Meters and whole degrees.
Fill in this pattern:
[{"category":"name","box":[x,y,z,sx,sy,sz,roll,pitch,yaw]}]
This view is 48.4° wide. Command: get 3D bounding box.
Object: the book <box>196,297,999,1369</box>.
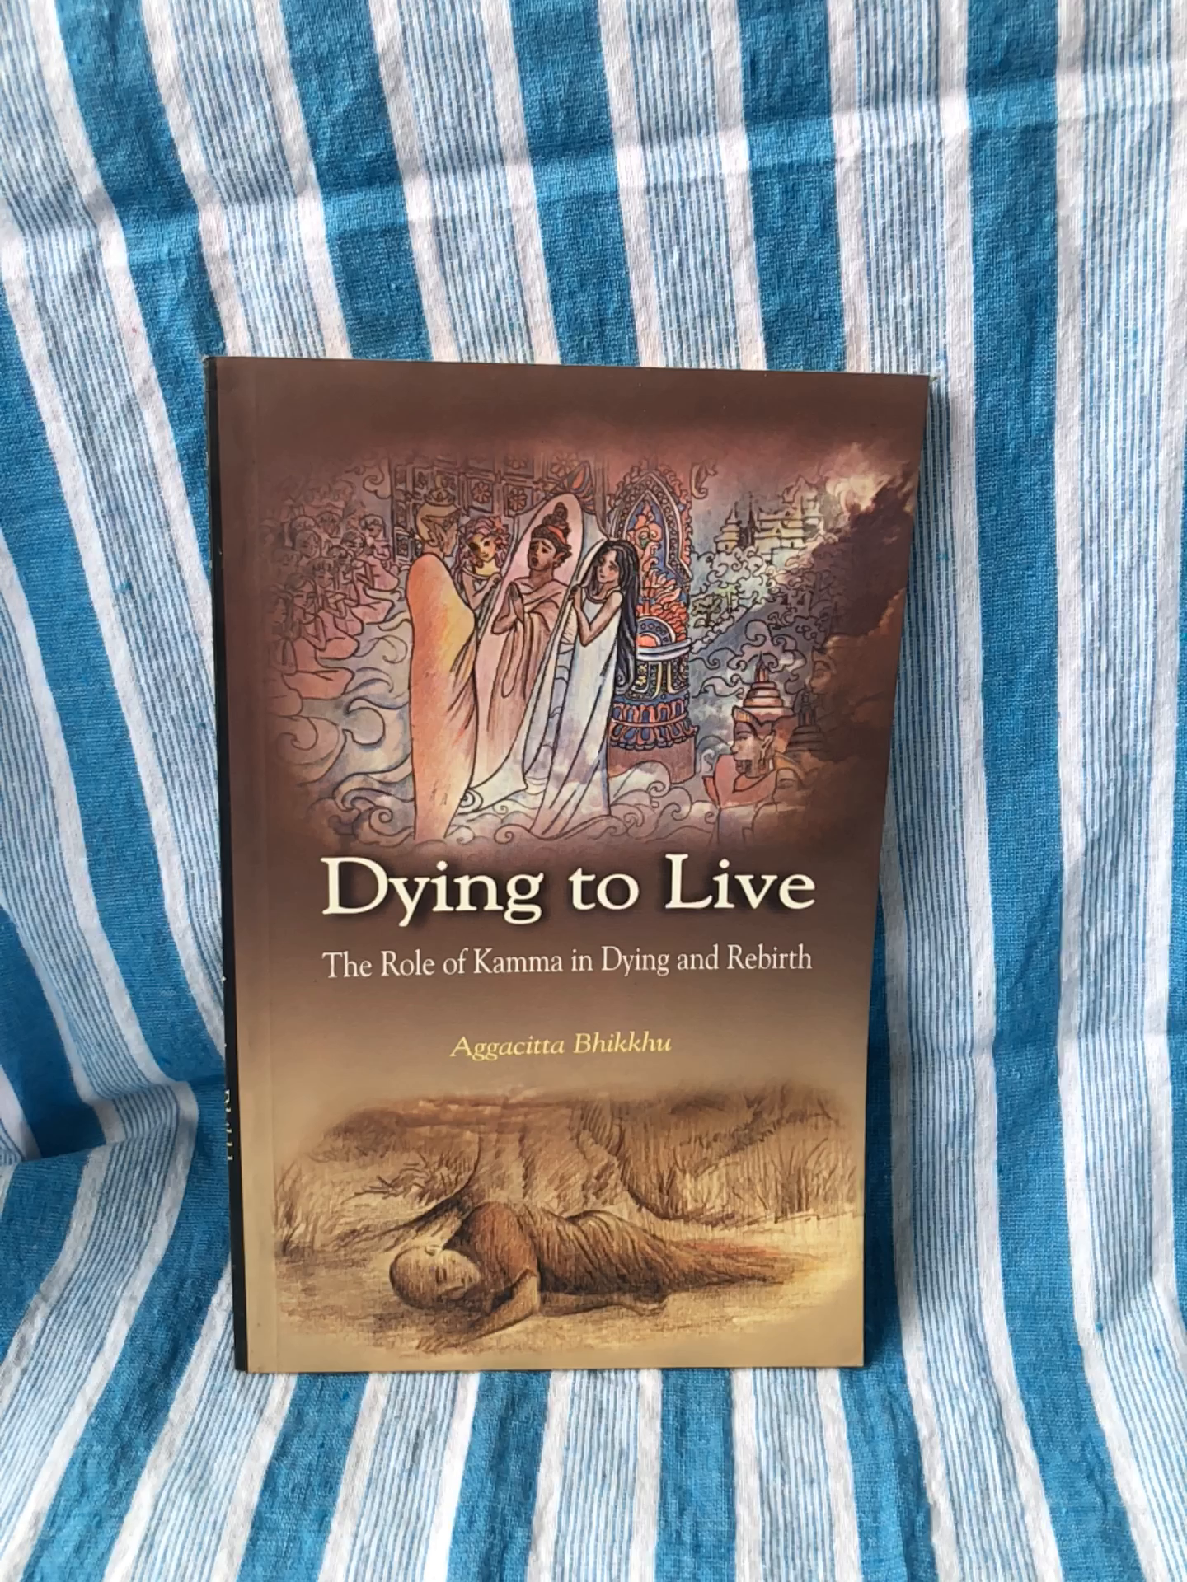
[{"category":"book","box":[-0.001,0.014,0.273,0.150,0.210,0.020,2,6,-6]}]
